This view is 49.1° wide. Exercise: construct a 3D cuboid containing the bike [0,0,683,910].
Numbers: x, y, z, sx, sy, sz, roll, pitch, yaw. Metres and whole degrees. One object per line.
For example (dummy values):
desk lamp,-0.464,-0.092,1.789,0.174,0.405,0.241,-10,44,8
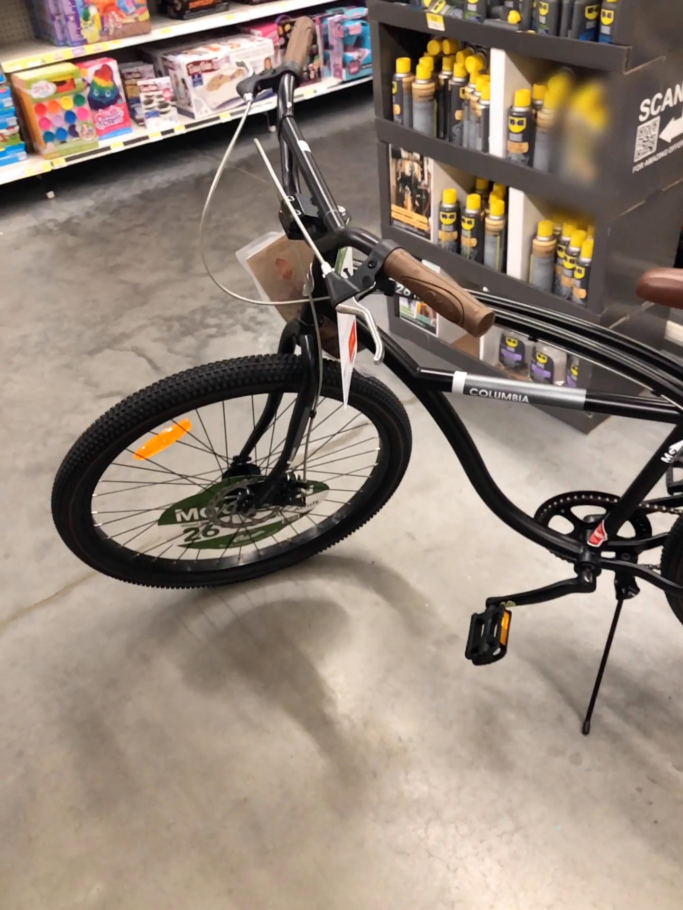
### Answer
bike,0.296,0.004,0.934,1.582,0.975,0.656,8,42,8
